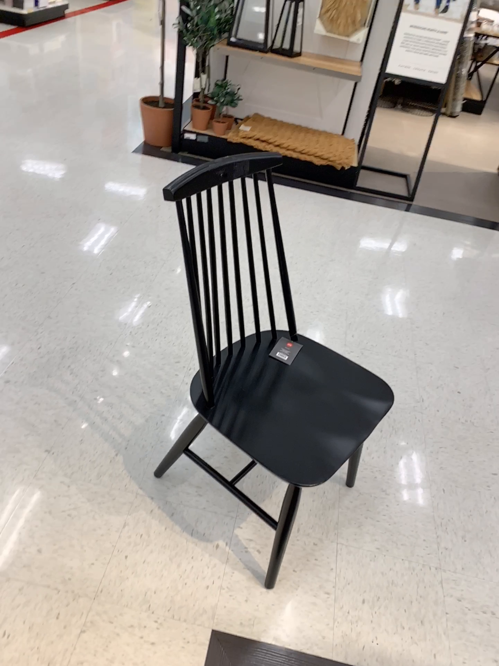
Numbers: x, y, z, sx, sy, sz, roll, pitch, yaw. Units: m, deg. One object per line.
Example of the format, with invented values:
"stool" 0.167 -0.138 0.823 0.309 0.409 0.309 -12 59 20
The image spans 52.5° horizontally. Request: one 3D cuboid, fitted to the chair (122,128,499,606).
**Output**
"chair" 0.072 0.089 1.288 0.551 0.945 0.532 35 45 27
